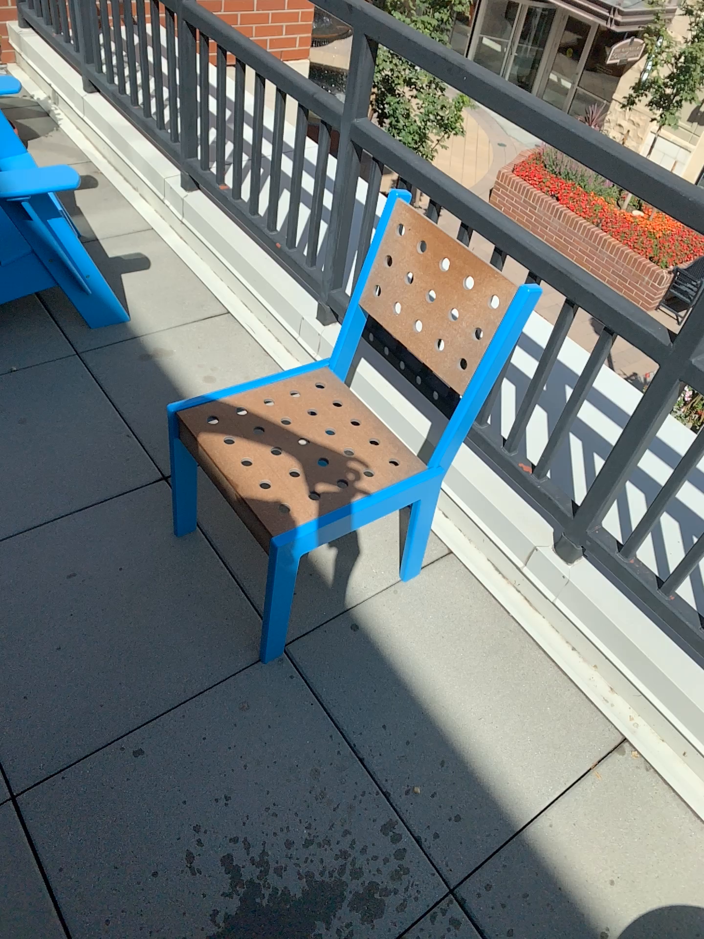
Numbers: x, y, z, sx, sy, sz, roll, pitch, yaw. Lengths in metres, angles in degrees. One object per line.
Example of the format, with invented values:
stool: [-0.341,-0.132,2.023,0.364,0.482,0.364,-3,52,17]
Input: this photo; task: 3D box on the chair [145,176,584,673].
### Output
chair: [-0.025,-0.096,1.622,0.671,0.856,0.471,-23,55,-30]
